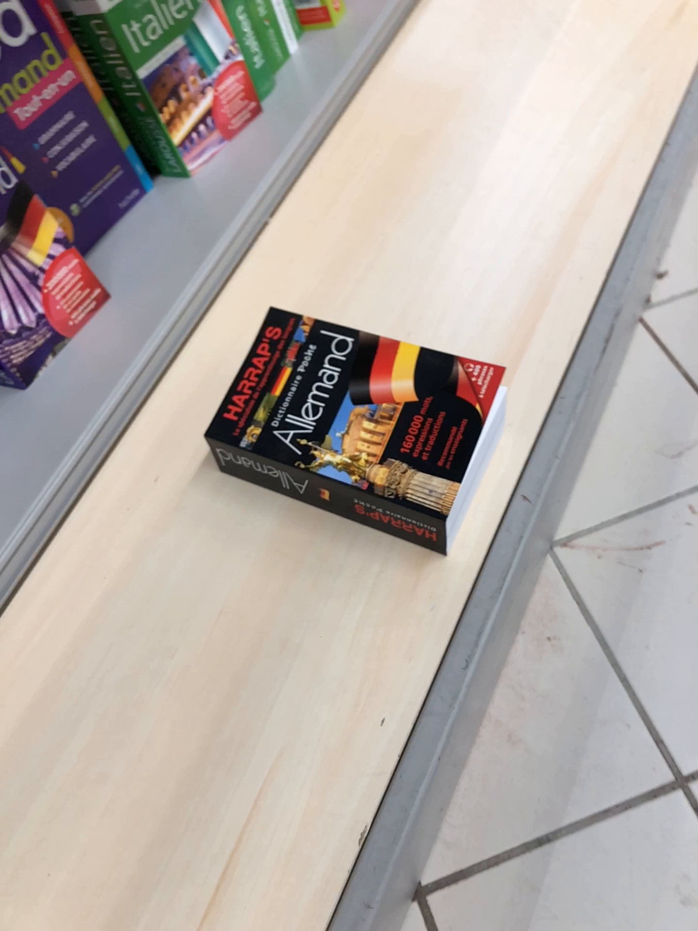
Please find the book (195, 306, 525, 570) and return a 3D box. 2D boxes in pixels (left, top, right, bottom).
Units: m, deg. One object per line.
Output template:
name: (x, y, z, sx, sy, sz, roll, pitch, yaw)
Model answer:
book: (0.011, -0.024, 0.522, 0.180, 0.060, 0.123, 18, 61, 19)
